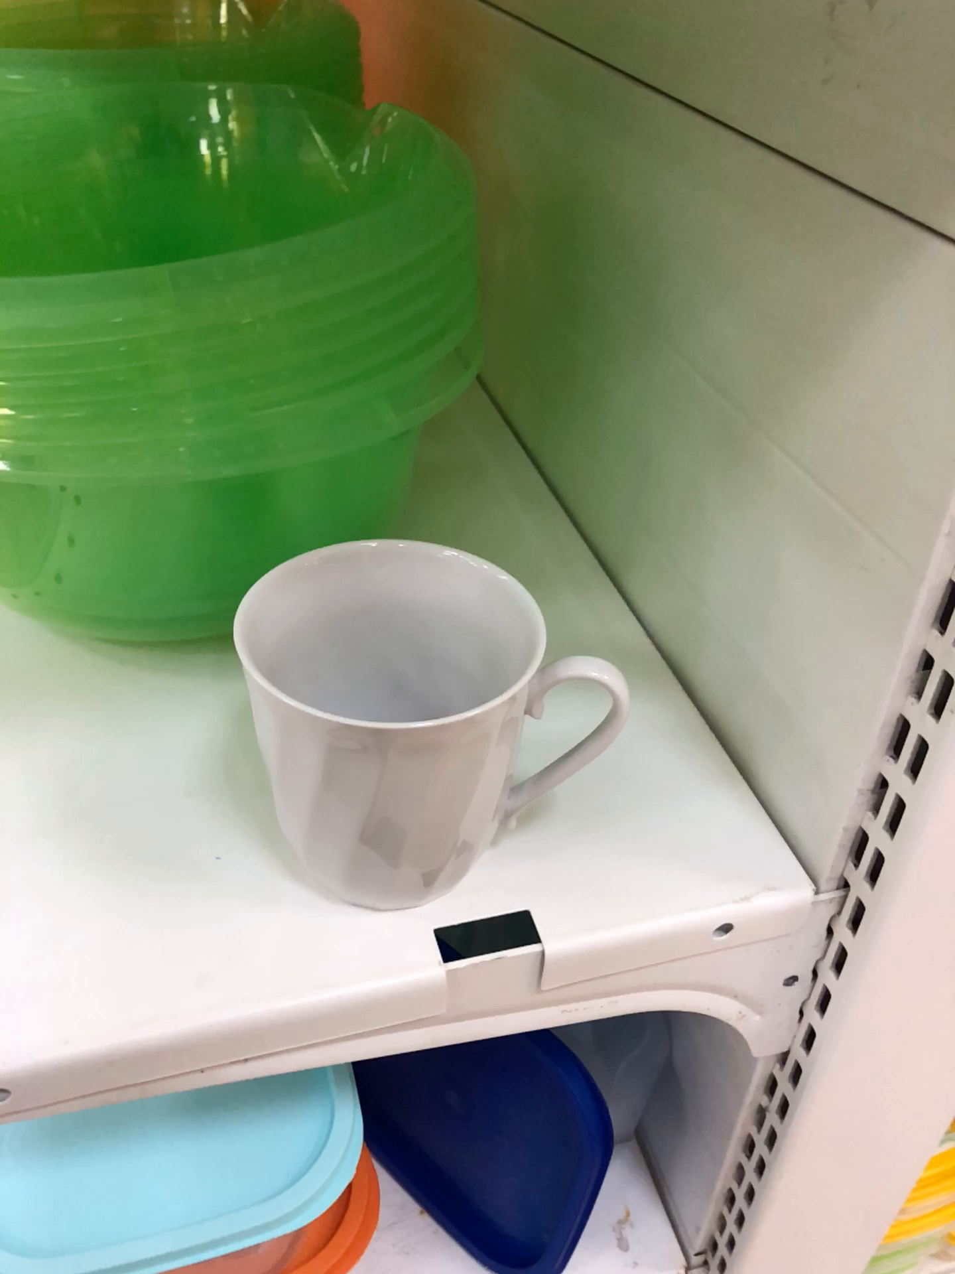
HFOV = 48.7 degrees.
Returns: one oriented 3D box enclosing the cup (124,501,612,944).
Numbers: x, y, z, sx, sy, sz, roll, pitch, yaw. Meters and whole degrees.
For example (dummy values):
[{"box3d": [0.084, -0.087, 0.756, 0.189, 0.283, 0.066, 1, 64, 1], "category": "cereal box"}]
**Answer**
[{"box3d": [-0.026, 0.022, 0.324, 0.119, 0.080, 0.091, 8, 37, 7], "category": "cup"}]
